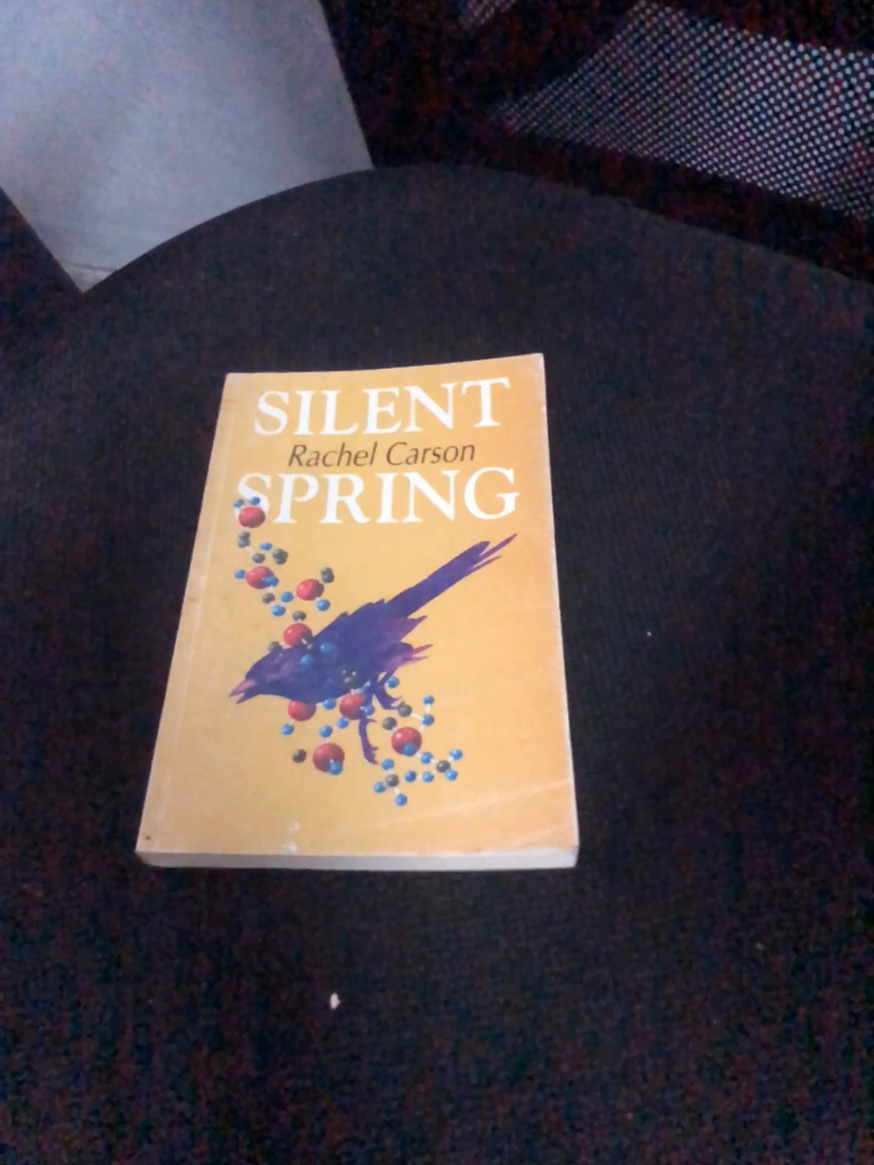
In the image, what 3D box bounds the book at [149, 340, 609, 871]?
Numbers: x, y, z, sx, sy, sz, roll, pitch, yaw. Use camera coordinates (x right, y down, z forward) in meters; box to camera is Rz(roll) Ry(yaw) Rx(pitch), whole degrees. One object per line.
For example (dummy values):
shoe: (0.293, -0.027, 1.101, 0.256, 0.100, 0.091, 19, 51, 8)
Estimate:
book: (-0.018, -0.002, 0.383, 0.150, 0.030, 0.220, -2, 58, 5)
